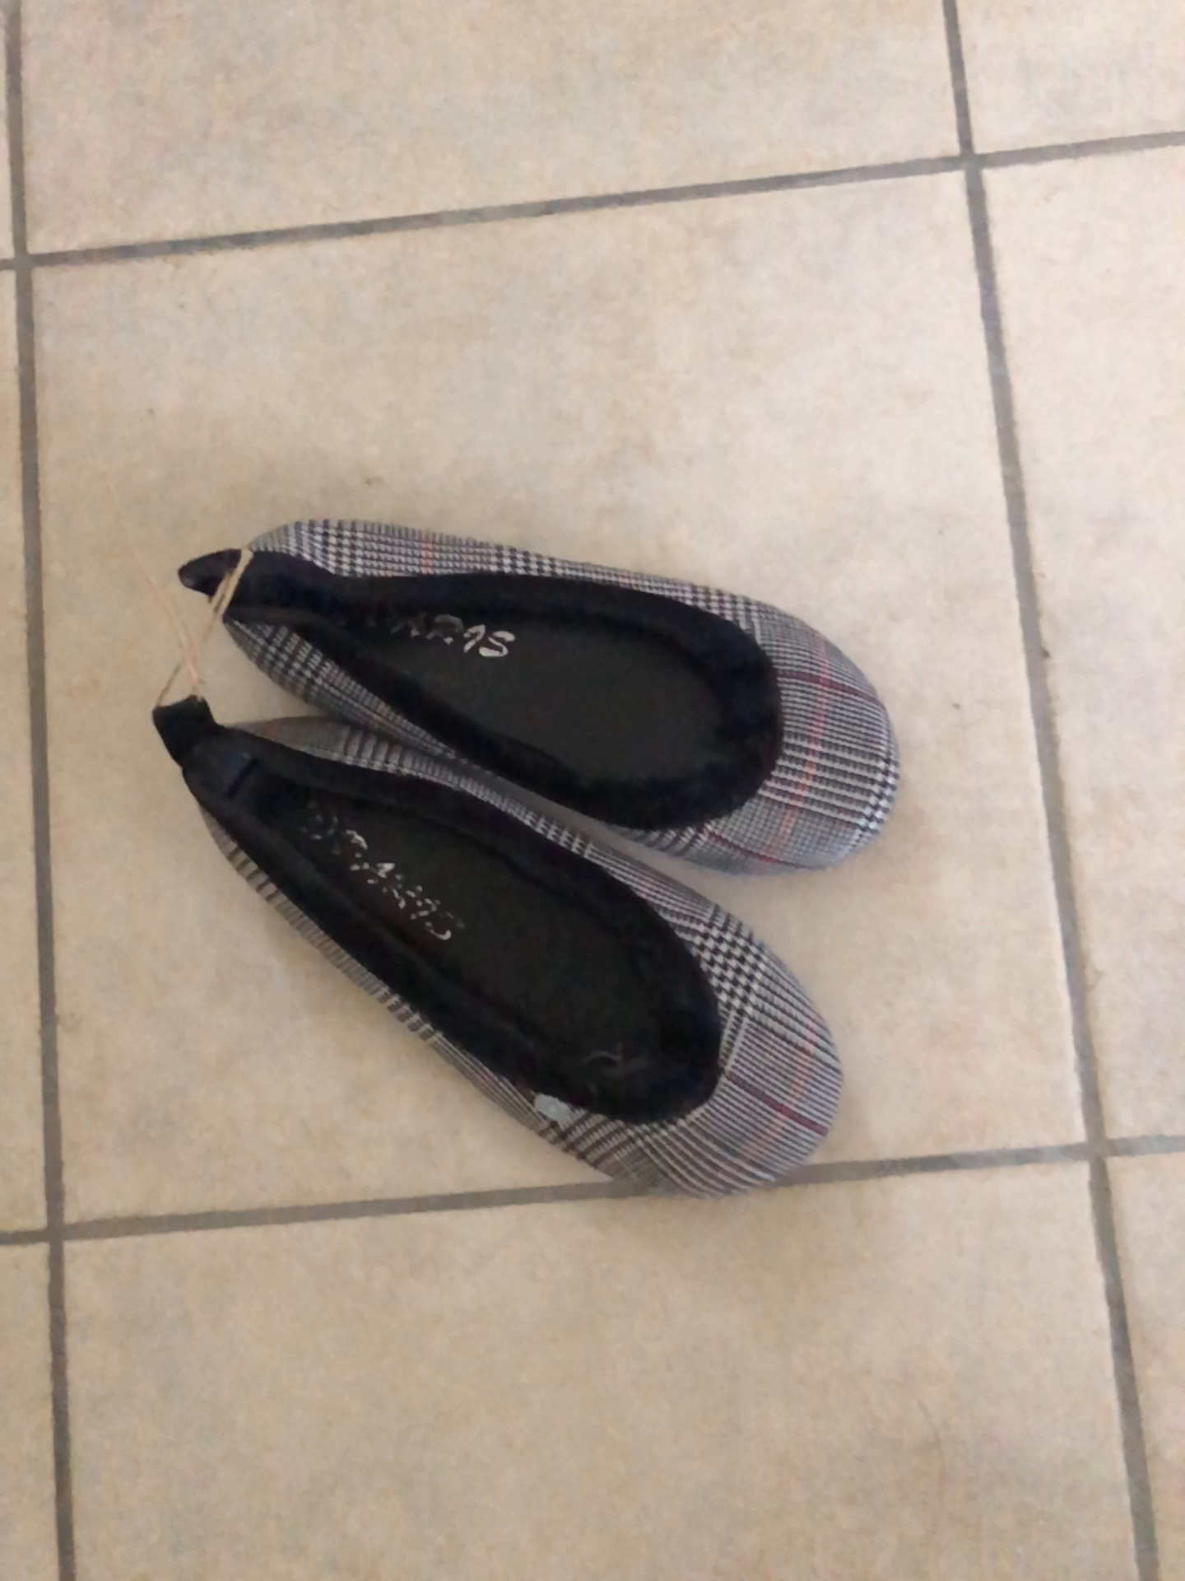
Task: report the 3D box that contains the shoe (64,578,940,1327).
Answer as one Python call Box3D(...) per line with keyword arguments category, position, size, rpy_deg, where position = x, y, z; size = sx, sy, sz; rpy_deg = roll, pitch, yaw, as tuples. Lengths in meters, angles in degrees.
Box3D(category="shoe", position=(-0.024, 0.041, 0.369), size=(0.210, 0.070, 0.090), rpy_deg=(33, 85, 6))

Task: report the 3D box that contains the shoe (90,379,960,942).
Box3D(category="shoe", position=(-0.017, -0.033, 0.375), size=(0.210, 0.070, 0.090), rpy_deg=(18, 84, 5))
